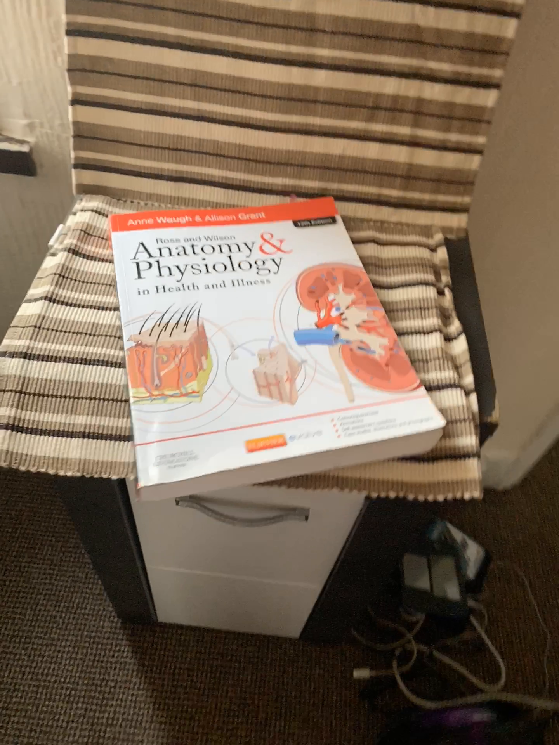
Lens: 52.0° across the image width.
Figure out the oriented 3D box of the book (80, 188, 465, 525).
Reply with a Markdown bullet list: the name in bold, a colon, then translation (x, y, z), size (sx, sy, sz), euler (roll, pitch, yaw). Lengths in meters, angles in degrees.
- **book**: translation (-0.026, -0.041, 0.461), size (0.240, 0.040, 0.282), euler (-8, 53, -13)
